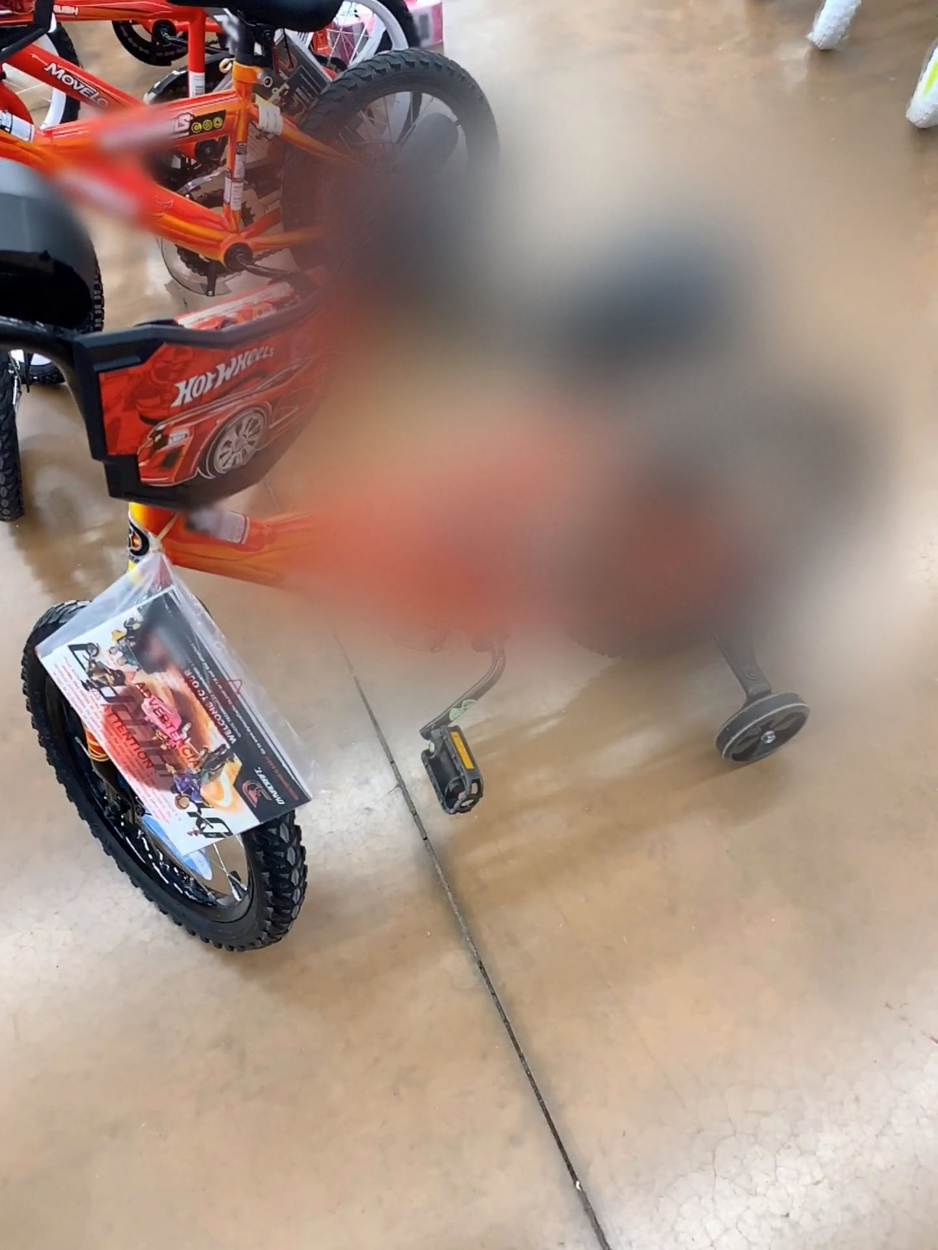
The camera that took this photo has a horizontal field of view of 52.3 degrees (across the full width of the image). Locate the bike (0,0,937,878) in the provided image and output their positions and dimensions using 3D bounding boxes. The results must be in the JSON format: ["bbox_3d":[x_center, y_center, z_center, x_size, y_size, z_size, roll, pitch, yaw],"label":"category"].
[{"bbox_3d":[-0.064,-0.212,1.015,0.994,0.821,0.504,-18,55,-1],"label":"bike"}]
